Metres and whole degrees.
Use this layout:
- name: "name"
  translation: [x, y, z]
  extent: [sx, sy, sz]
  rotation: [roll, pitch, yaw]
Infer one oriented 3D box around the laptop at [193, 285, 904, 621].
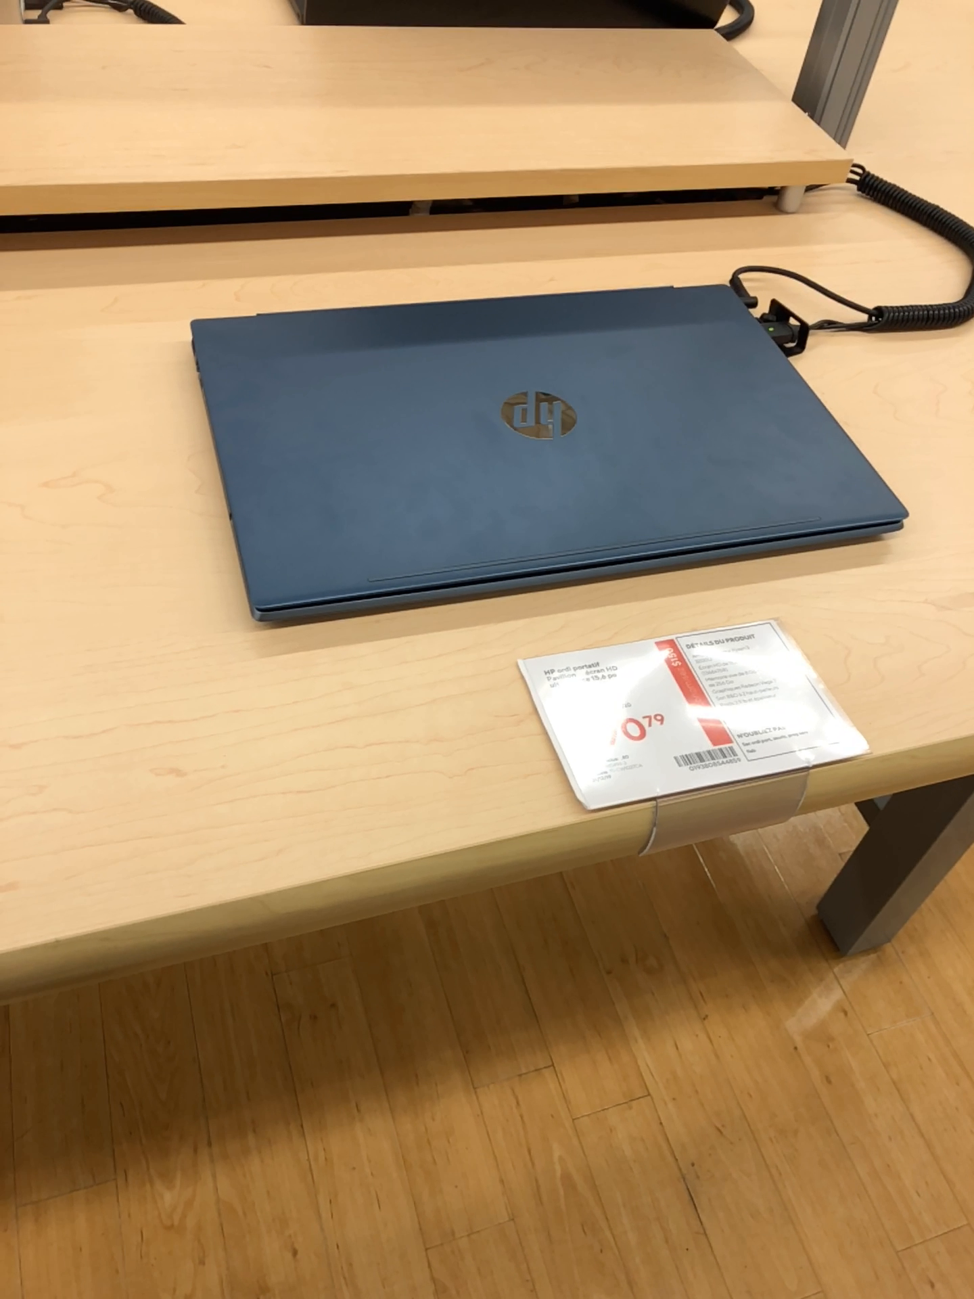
- name: "laptop"
  translation: [0.028, -0.129, 0.616]
  extent: [0.353, 0.012, 0.220]
  rotation: [-9, 54, -15]
